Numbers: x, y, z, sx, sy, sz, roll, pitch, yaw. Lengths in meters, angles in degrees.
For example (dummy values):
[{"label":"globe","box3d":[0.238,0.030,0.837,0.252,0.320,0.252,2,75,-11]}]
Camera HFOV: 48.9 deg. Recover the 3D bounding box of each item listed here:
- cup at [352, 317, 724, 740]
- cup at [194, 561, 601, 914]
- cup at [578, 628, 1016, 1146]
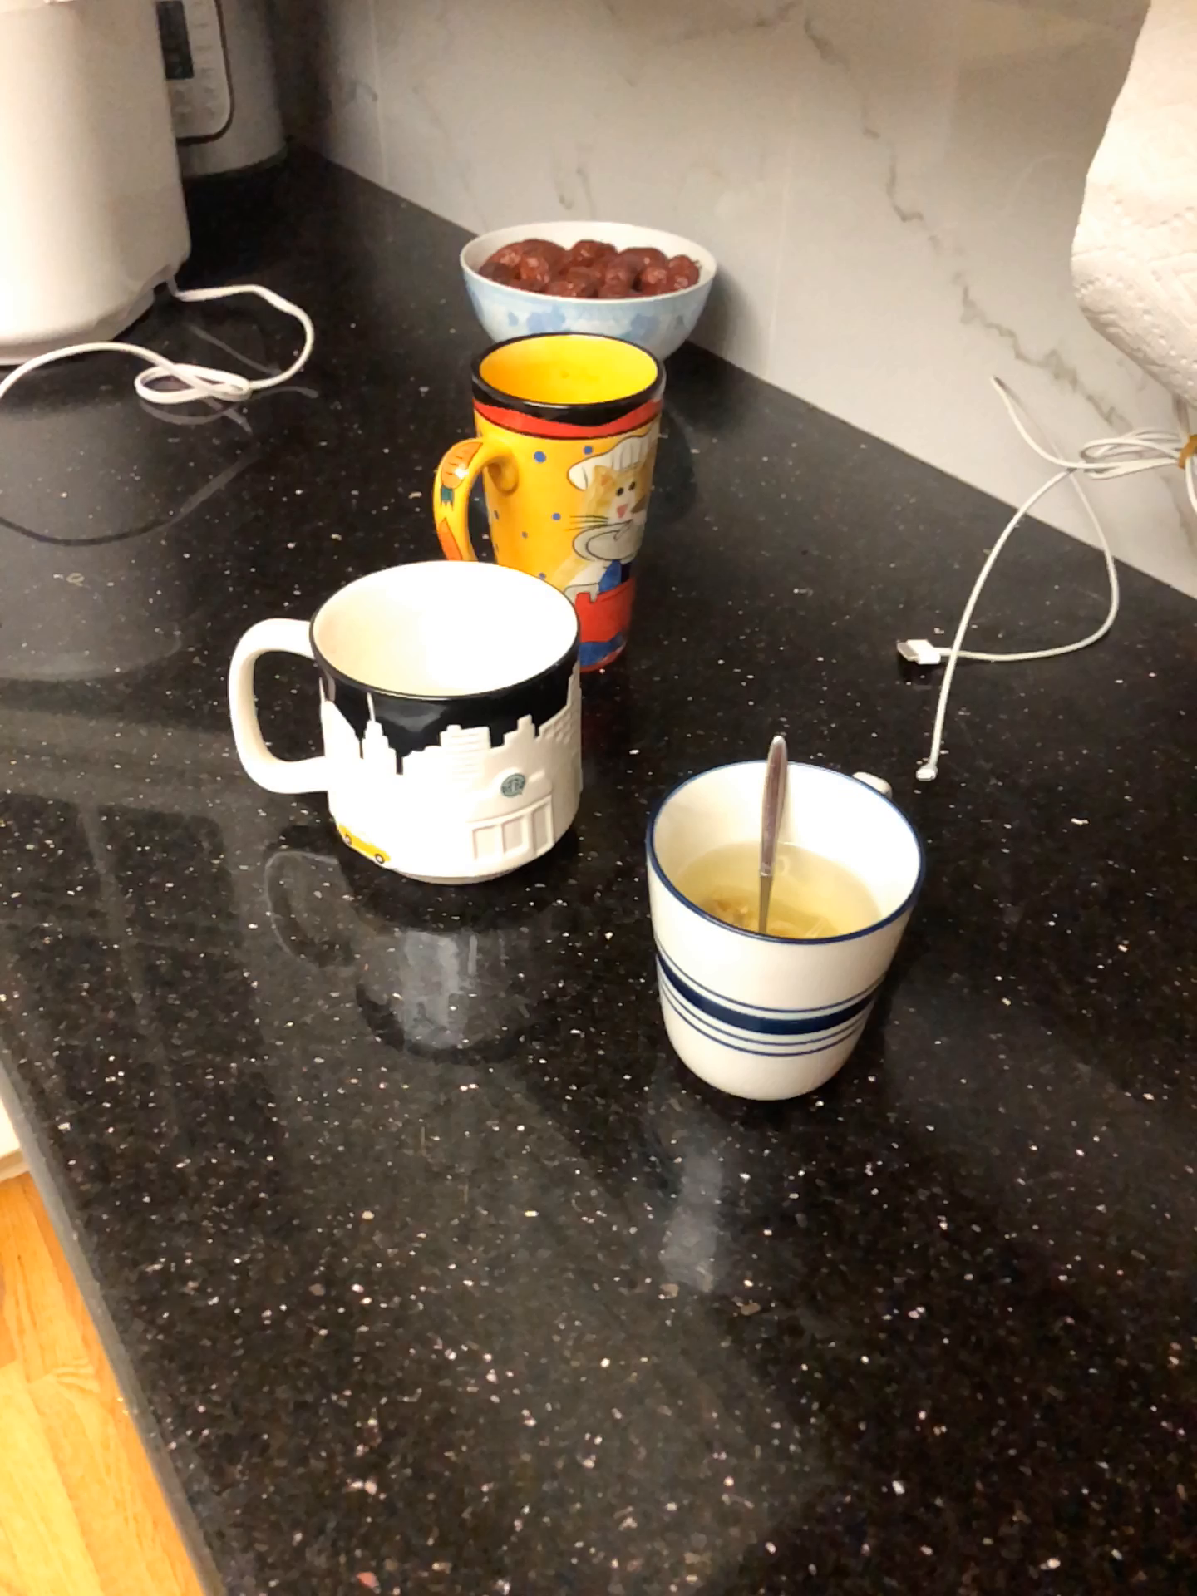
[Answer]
[{"label":"cup","box3d":[-0.025,-0.128,0.606,0.090,0.129,0.141,27,45,29]},{"label":"cup","box3d":[-0.070,-0.026,0.526,0.140,0.089,0.111,1,39,-1]},{"label":"cup","box3d":[0.066,0.023,0.442,0.090,0.089,0.131,22,43,23]}]
